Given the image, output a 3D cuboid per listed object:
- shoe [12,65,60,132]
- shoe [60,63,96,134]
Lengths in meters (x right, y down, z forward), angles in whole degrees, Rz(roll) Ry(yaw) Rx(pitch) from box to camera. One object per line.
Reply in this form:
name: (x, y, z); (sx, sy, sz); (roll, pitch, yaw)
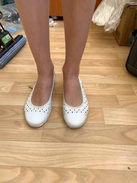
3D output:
shoe: (-0.098, 0.008, 0.516); (0.100, 0.070, 0.271); (2, 43, 3)
shoe: (0.020, 0.006, 0.490); (0.090, 0.070, 0.271); (-3, 43, -2)
